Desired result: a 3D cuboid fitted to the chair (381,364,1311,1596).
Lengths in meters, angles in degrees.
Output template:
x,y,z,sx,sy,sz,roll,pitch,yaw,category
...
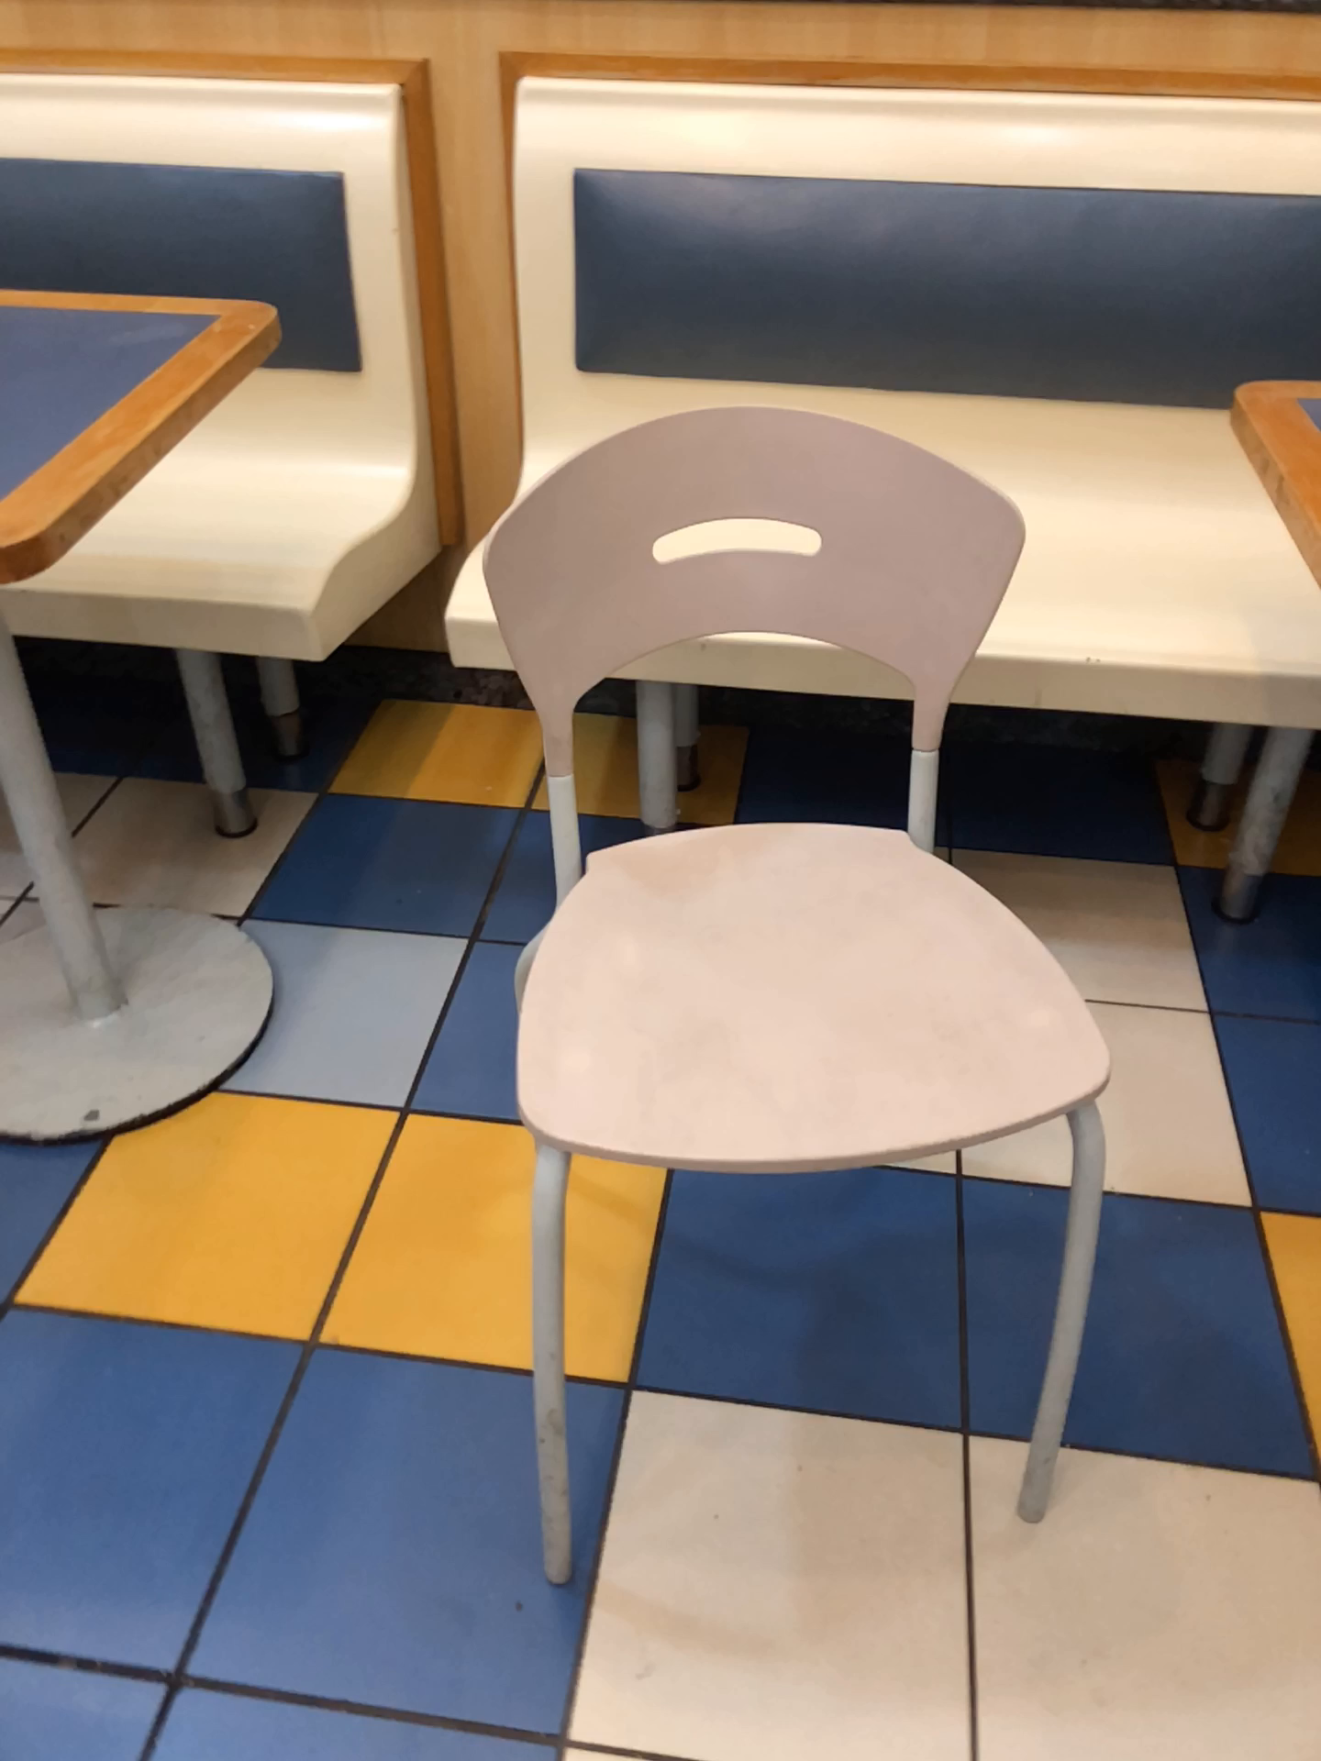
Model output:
x,y,z,sx,sy,sz,roll,pitch,yaw,category
0.069,0.086,1.109,0.450,0.794,0.473,-4,36,-5,chair
